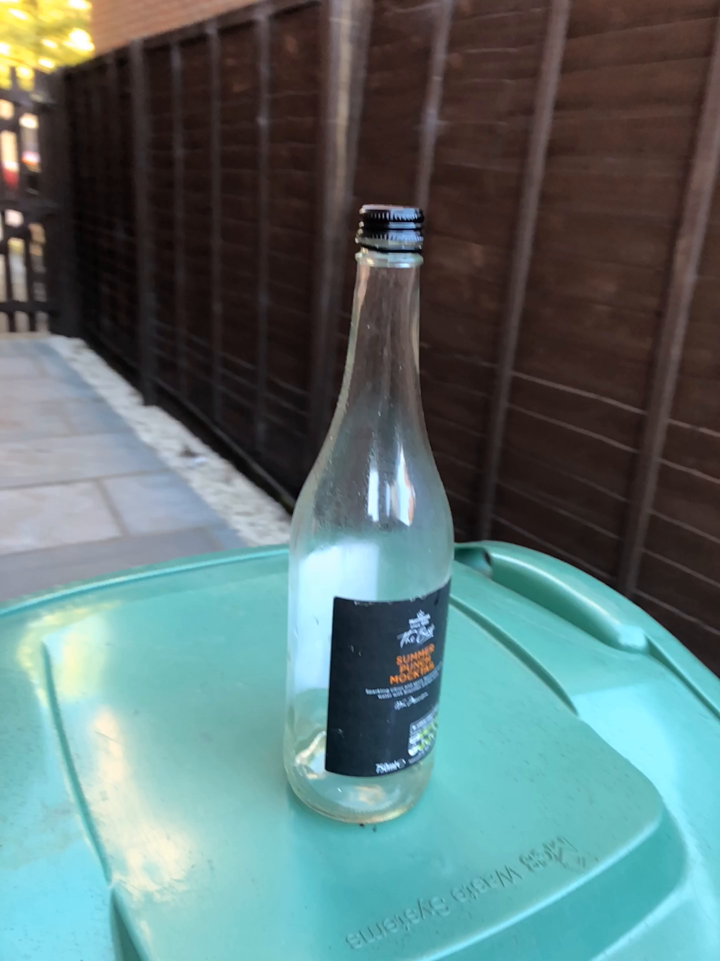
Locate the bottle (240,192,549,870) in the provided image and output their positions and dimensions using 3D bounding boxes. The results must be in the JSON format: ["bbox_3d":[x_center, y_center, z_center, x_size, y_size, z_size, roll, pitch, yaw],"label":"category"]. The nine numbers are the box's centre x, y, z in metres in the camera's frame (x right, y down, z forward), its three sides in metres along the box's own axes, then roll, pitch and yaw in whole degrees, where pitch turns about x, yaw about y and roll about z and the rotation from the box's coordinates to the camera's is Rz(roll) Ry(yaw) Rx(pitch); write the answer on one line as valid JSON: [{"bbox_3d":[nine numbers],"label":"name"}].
[{"bbox_3d":[0.006,0.023,0.372,0.090,0.288,0.080,-10,24,-35],"label":"bottle"}]
